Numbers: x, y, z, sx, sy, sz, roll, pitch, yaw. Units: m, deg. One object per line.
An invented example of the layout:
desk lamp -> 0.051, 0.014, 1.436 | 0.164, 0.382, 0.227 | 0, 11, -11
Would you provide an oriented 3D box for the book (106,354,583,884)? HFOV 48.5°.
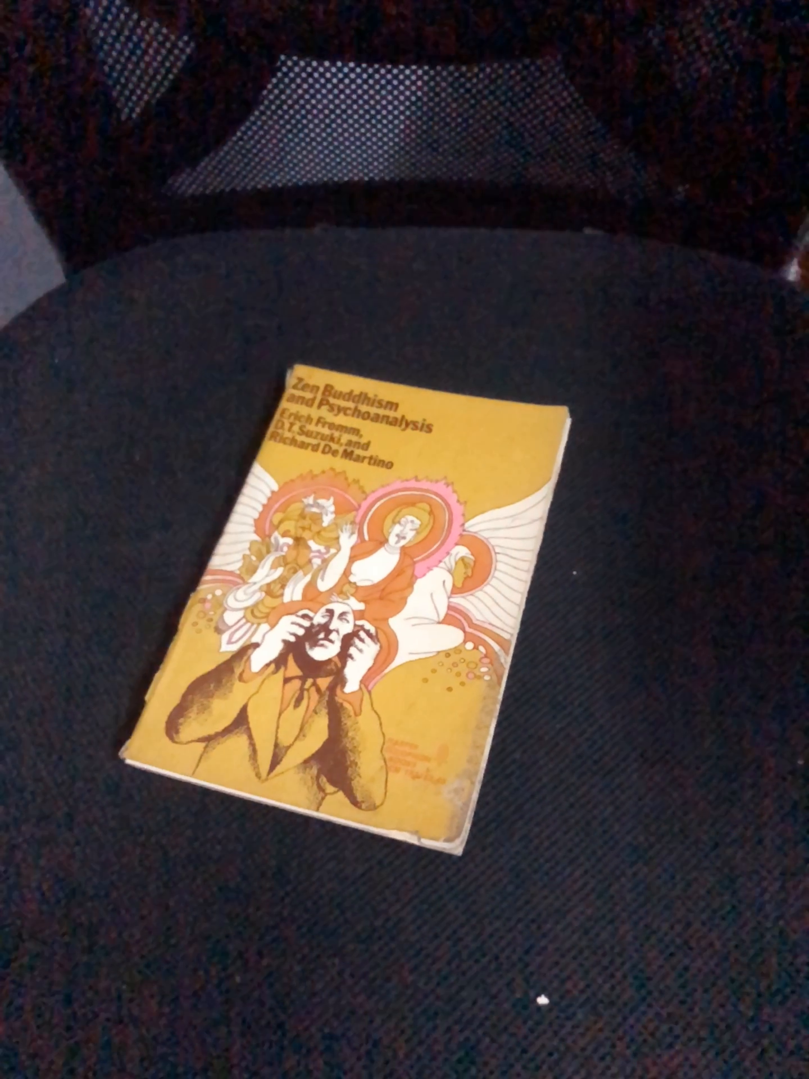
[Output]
book -> -0.014, 0.017, 0.363 | 0.136, 0.020, 0.201 | 11, 61, 11
